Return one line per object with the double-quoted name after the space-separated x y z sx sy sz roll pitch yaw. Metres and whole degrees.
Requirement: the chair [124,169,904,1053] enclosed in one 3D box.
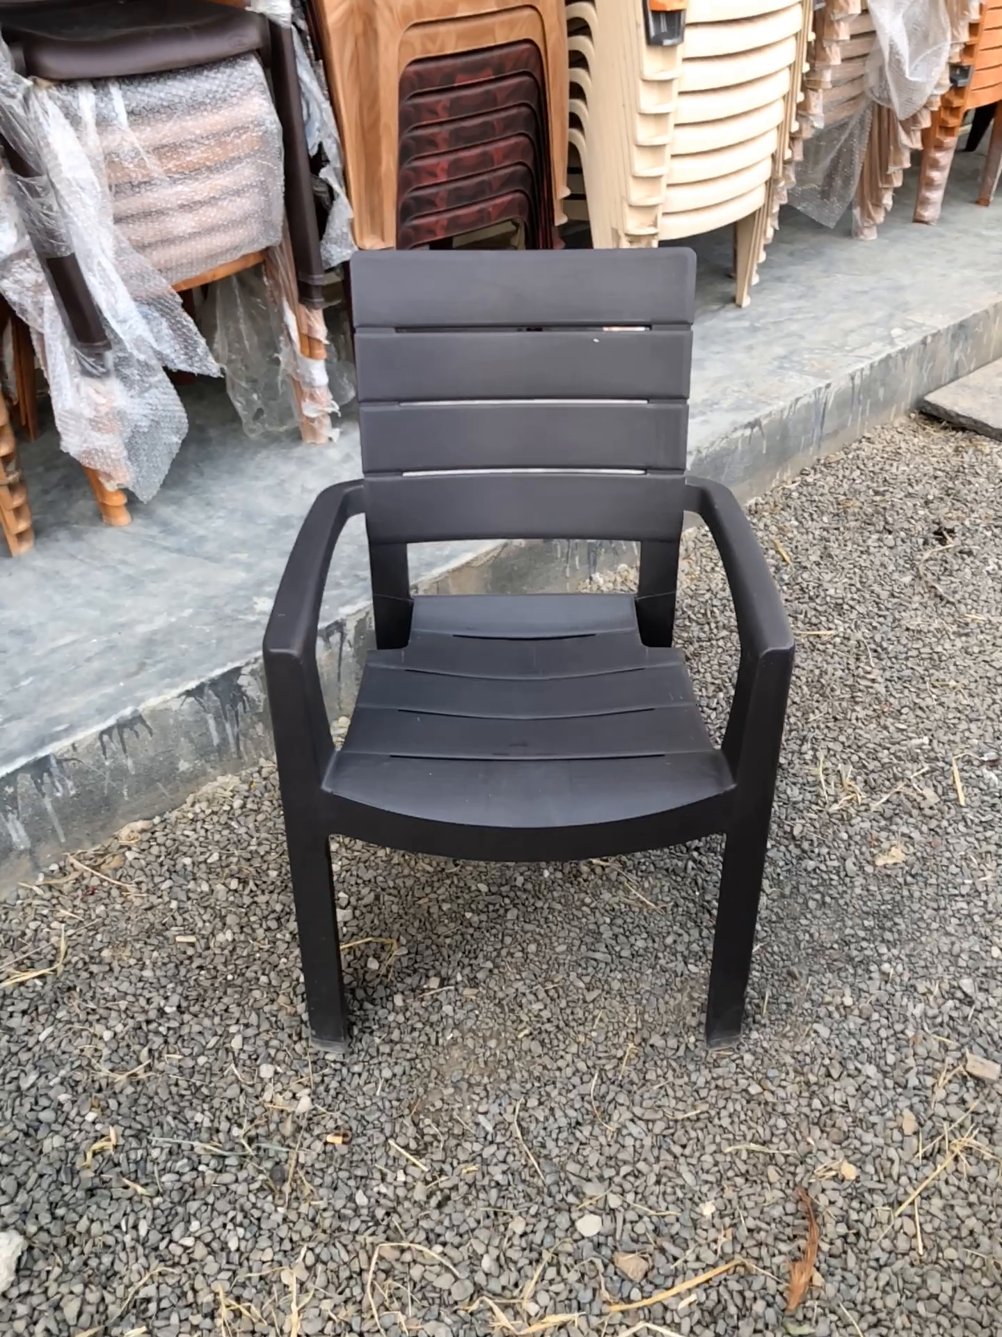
0.019 -0.076 1.317 0.570 0.796 0.684 -1 38 1 "chair"
